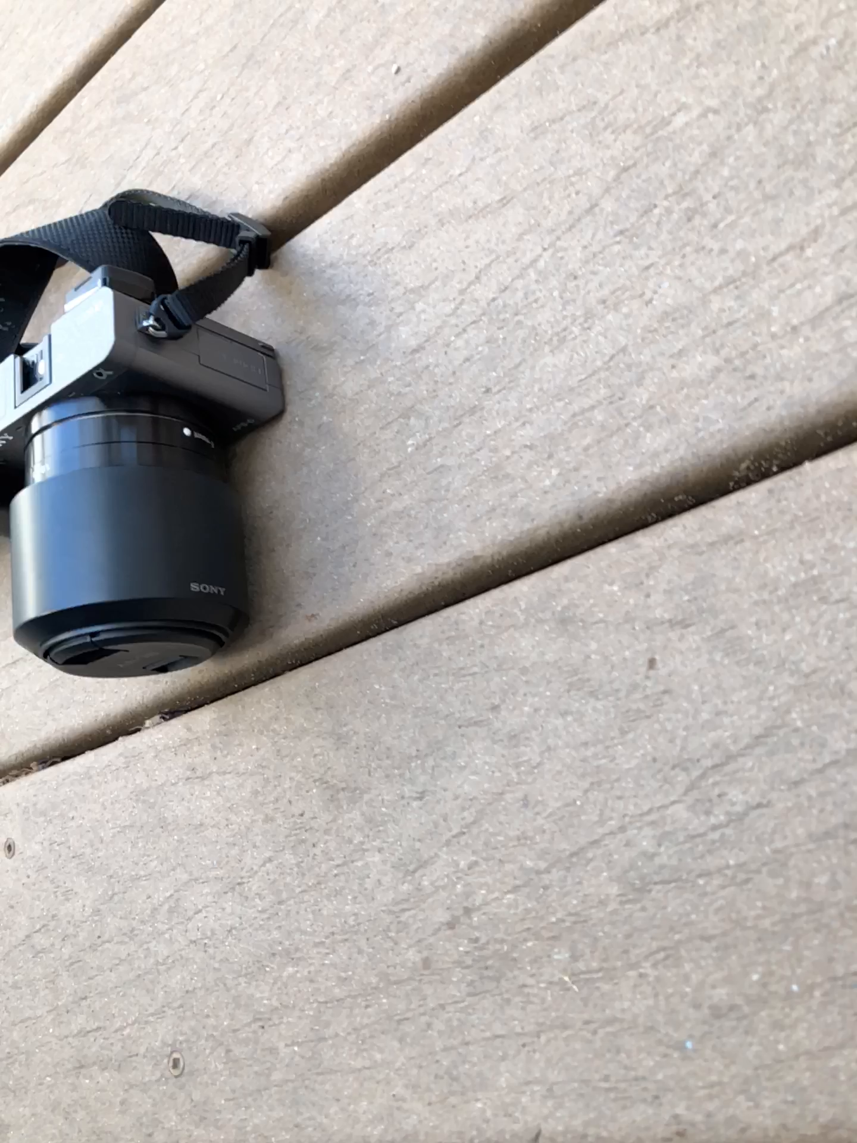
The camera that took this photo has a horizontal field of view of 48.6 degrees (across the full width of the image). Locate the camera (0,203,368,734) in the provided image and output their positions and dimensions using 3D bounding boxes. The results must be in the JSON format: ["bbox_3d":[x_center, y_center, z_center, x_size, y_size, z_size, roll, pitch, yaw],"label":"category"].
[{"bbox_3d":[-0.097,-0.019,0.291,0.131,0.070,0.110,-20,69,33],"label":"camera"}]
